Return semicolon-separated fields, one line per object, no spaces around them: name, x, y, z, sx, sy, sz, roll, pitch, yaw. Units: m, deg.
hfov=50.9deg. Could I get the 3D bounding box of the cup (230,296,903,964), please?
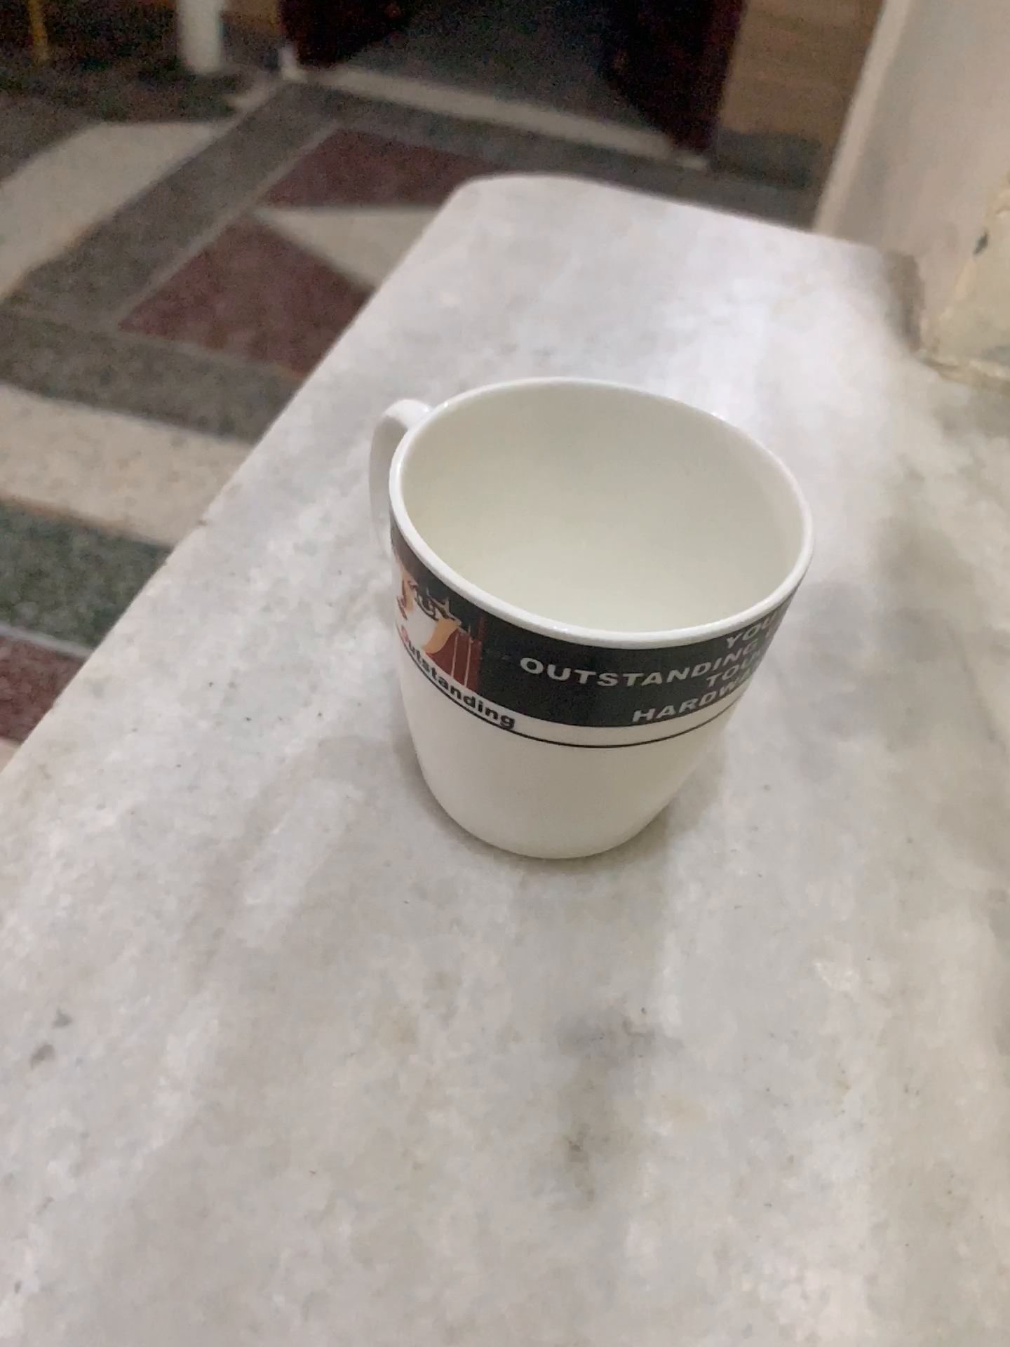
cup;0.004;-0.014;0.193;0.070;0.060;0.090;-22;53;-27
